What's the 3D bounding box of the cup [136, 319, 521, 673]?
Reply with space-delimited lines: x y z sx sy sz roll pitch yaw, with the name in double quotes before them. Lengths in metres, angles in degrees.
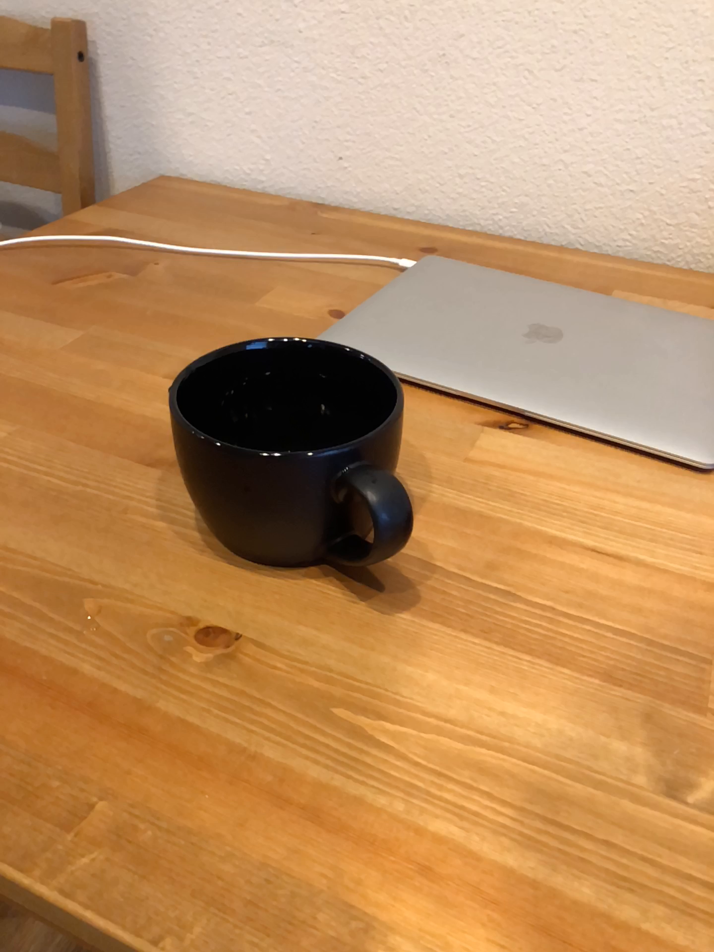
"cup" -0.020 -0.003 0.413 0.120 0.080 0.160 -22 42 -29
